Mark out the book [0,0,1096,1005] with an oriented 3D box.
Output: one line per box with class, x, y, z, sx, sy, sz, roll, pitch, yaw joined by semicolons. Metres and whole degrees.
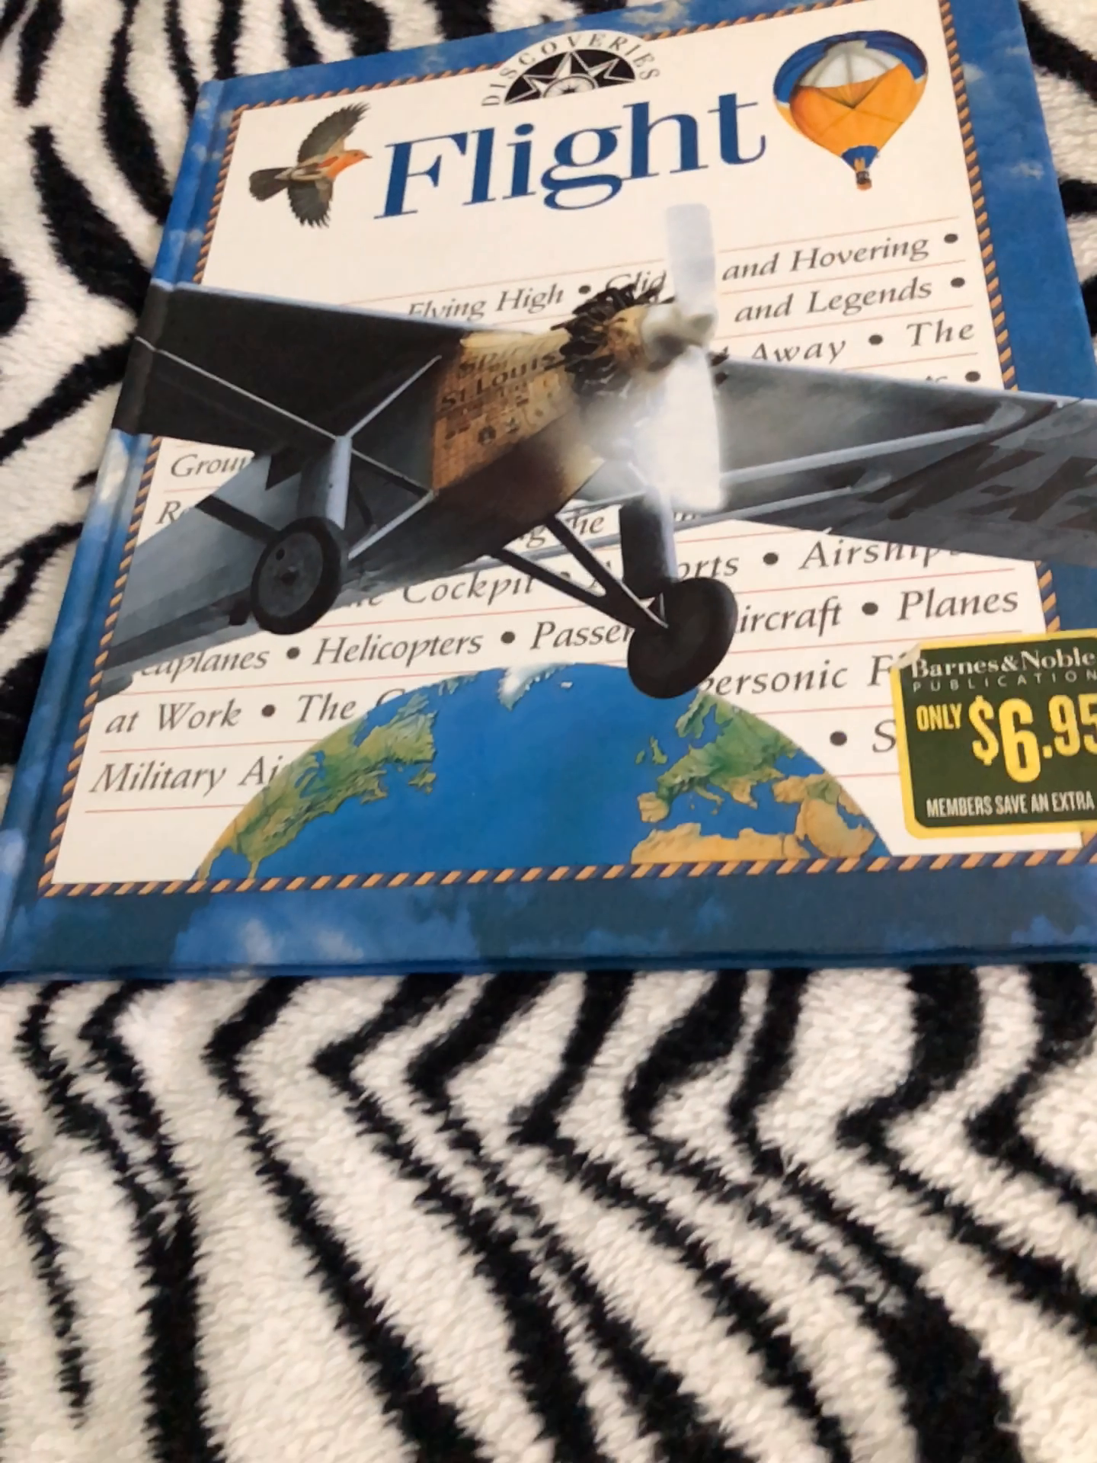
book;-0.002;-0.083;0.309;0.258;0.020;0.301;-3;62;11
